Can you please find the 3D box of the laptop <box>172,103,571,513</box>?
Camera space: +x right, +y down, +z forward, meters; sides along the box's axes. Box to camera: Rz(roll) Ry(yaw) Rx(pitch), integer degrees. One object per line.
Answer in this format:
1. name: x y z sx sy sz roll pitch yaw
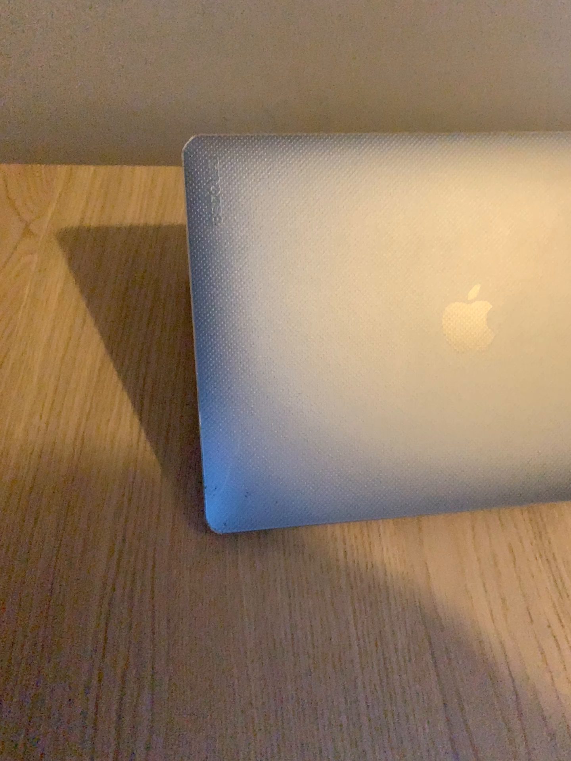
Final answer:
1. laptop: 0.097 -0.055 0.360 0.309 0.127 0.207 -4 52 -7
